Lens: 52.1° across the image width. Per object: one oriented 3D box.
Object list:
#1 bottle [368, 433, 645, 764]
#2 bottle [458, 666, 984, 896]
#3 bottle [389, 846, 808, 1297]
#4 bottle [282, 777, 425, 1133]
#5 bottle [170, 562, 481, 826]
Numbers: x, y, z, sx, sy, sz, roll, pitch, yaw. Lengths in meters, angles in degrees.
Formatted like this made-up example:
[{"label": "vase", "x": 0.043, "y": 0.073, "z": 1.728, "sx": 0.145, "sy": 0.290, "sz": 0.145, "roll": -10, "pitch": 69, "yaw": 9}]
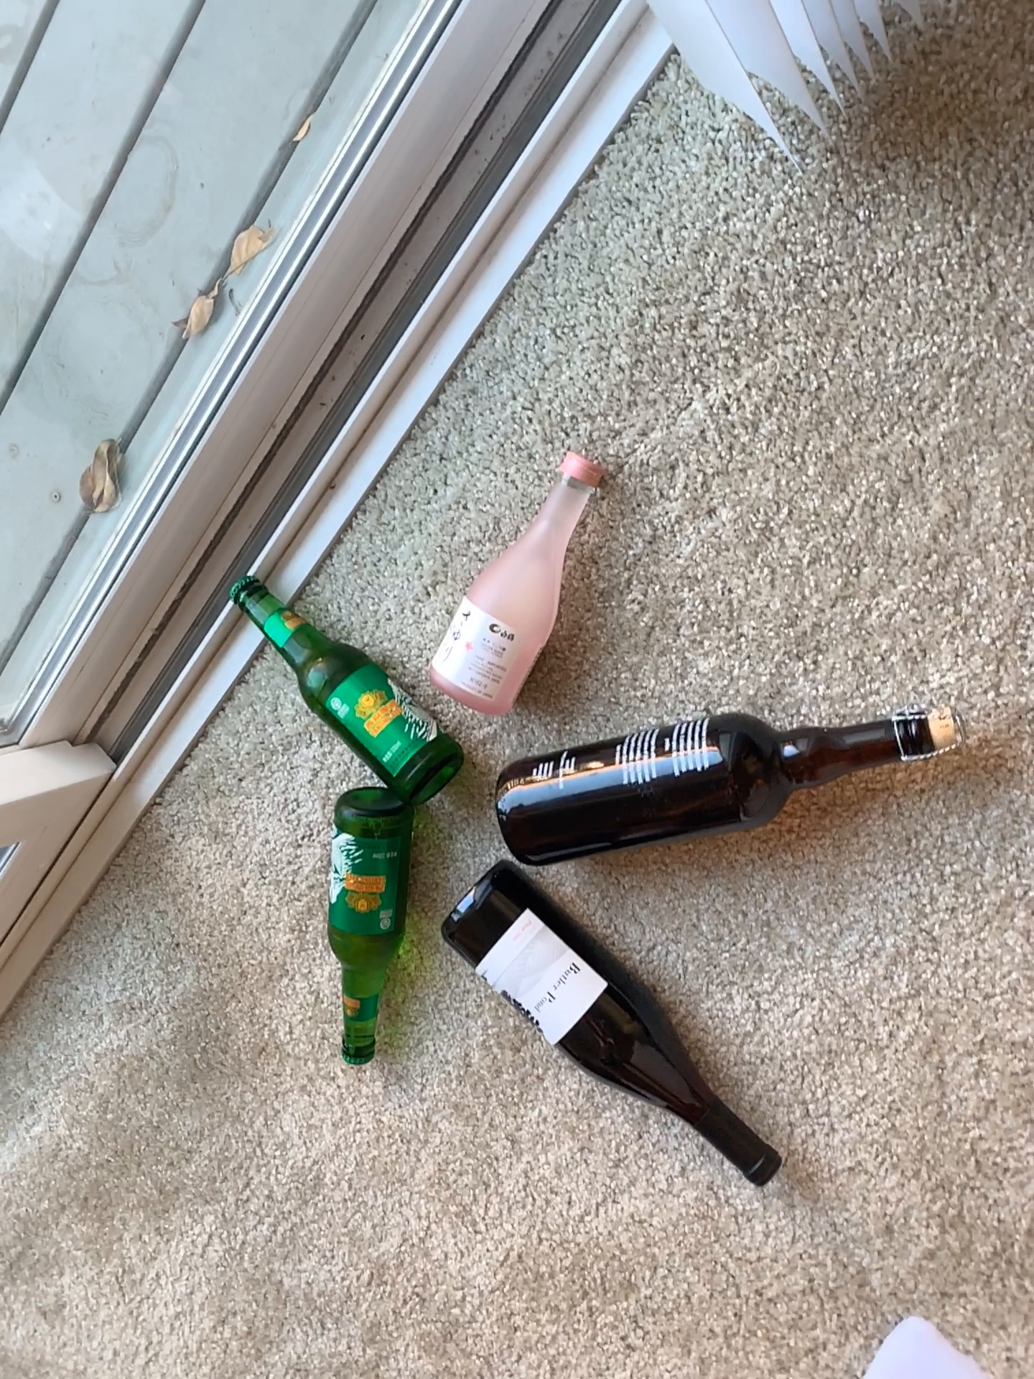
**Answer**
[{"label": "bottle", "x": -0.008, "y": -0.060, "z": 0.701, "sx": 0.070, "sy": 0.090, "sz": 0.201, "roll": 35, "pitch": 112, "yaw": 16}, {"label": "bottle", "x": 0.123, "y": 0.062, "z": 0.677, "sx": 0.311, "sy": 0.090, "sz": 0.070, "roll": -15, "pitch": 92, "yaw": 27}, {"label": "bottle", "x": 0.055, "y": 0.251, "z": 0.729, "sx": 0.300, "sy": 0.090, "sz": 0.070, "roll": 44, "pitch": 114, "yaw": 12}, {"label": "bottle", "x": -0.124, "y": 0.198, "z": 0.807, "sx": 0.060, "sy": 0.090, "sz": 0.240, "roll": 9, "pitch": 102, "yaw": 23}, {"label": "bottle", "x": -0.145, "y": -0.003, "z": 0.800, "sx": 0.230, "sy": 0.080, "sz": 0.060, "roll": 39, "pitch": 112, "yaw": 14}]
